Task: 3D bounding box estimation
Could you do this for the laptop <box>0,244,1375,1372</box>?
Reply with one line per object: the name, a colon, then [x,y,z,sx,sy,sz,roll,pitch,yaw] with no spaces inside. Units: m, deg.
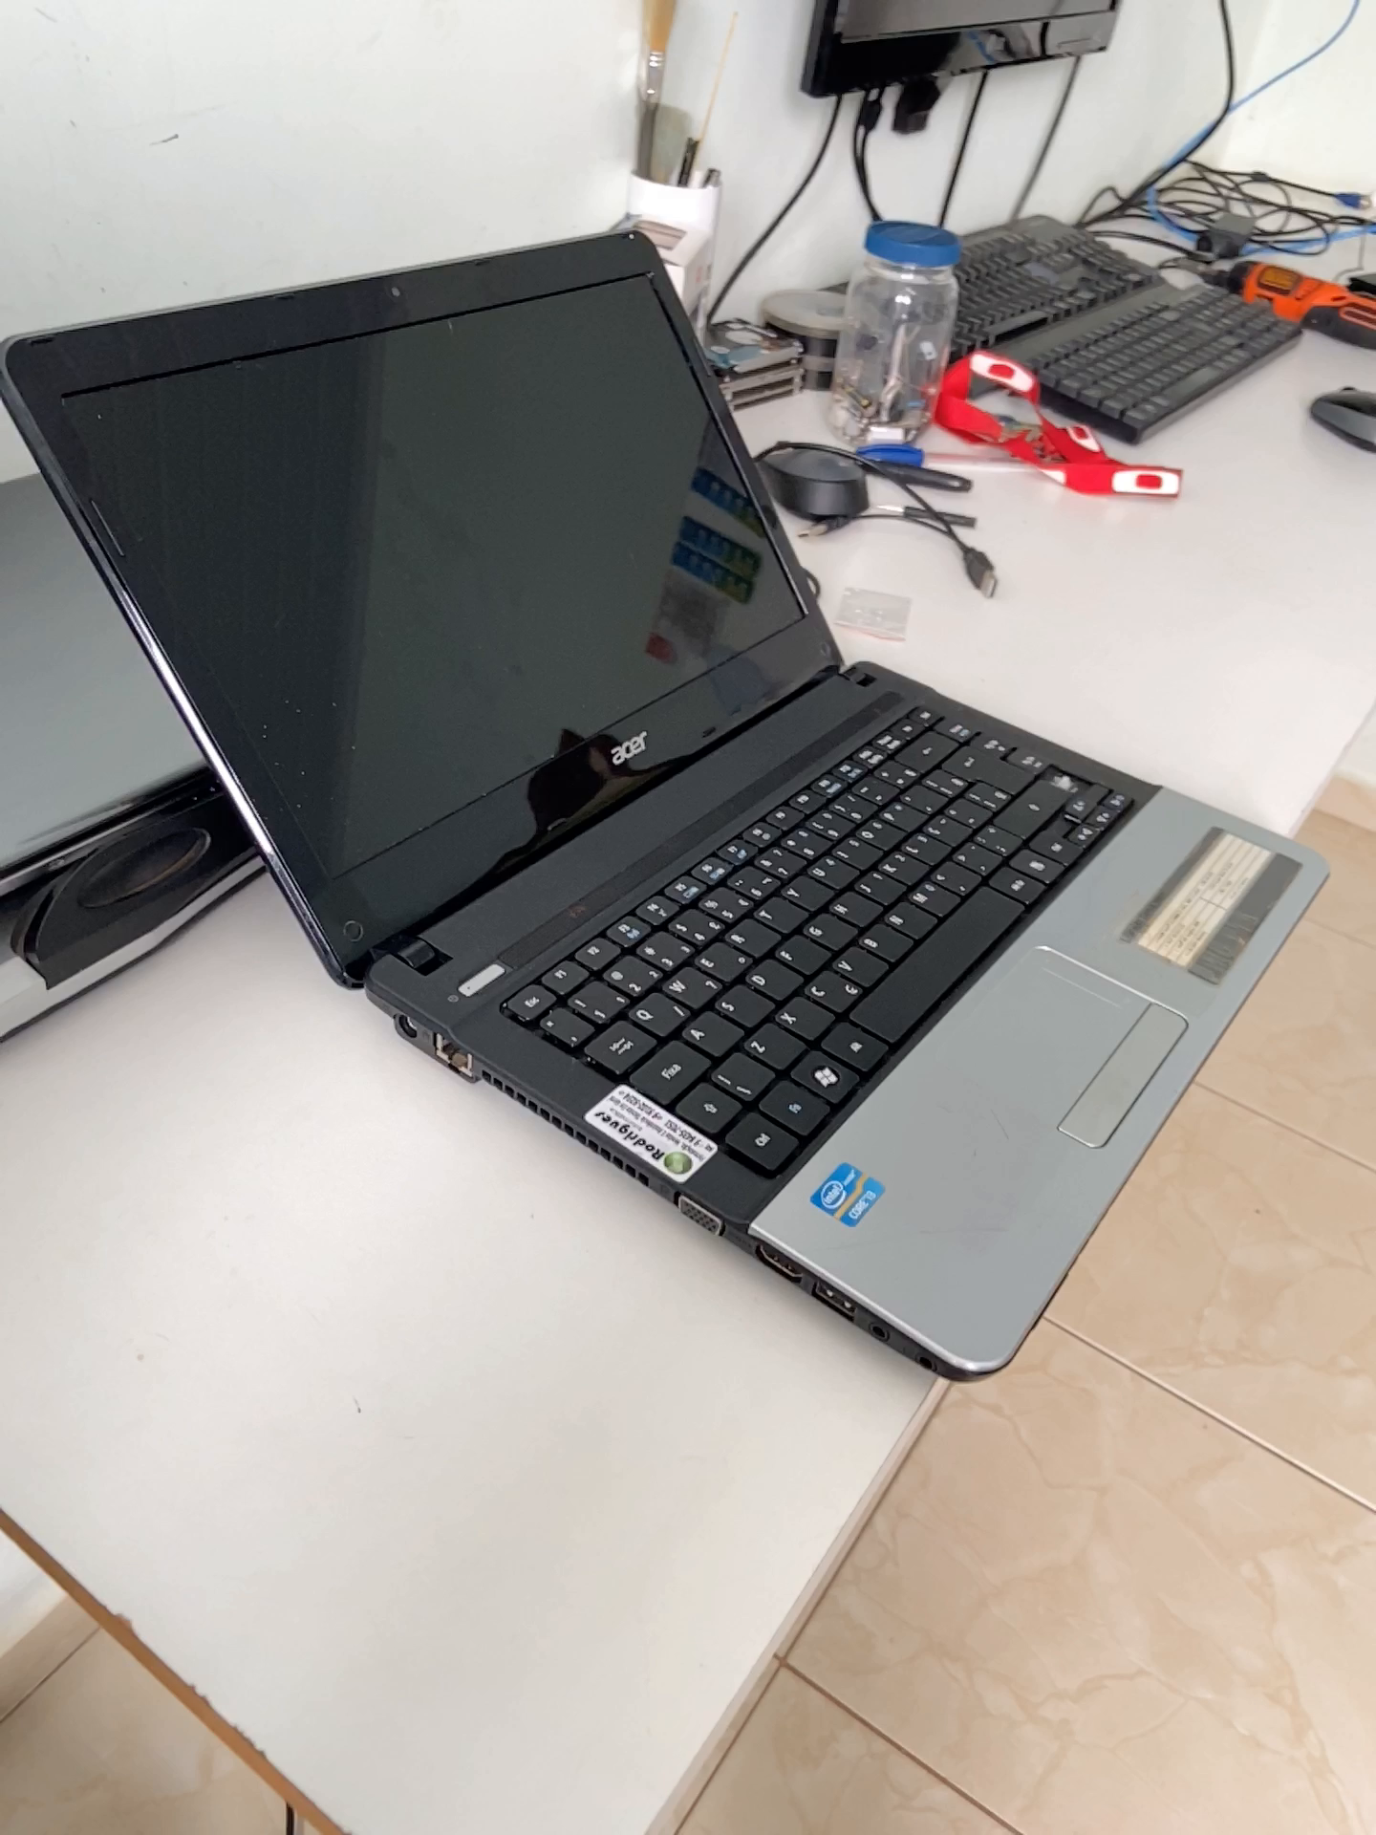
laptop: [0.025,-0.099,0.528,0.396,0.162,0.334,28,41,24]
